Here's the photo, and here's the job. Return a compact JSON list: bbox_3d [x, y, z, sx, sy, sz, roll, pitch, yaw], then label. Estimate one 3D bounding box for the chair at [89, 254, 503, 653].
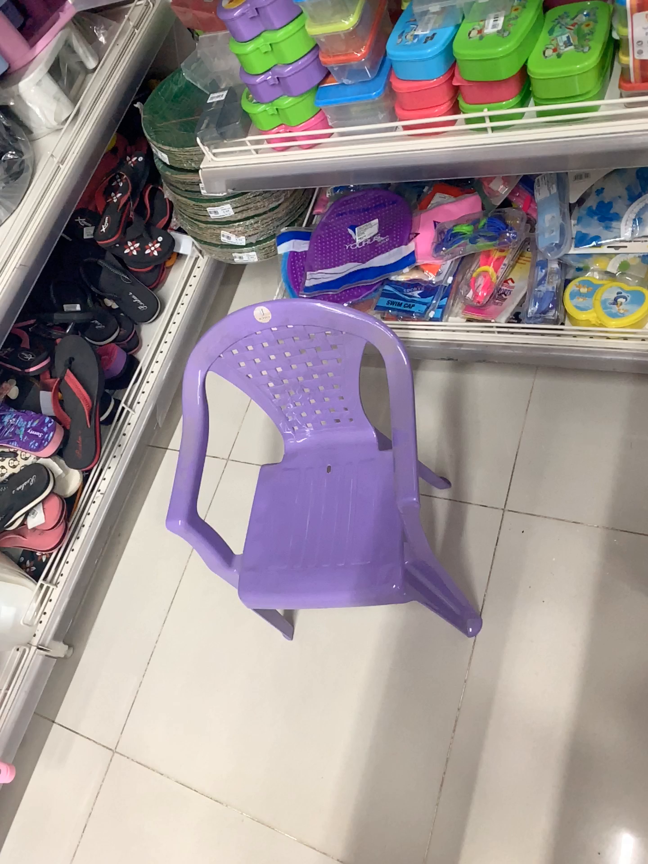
[{"bbox_3d":[-0.002,0.080,0.988,0.421,0.429,0.400,-10,61,21],"label":"chair"}]
